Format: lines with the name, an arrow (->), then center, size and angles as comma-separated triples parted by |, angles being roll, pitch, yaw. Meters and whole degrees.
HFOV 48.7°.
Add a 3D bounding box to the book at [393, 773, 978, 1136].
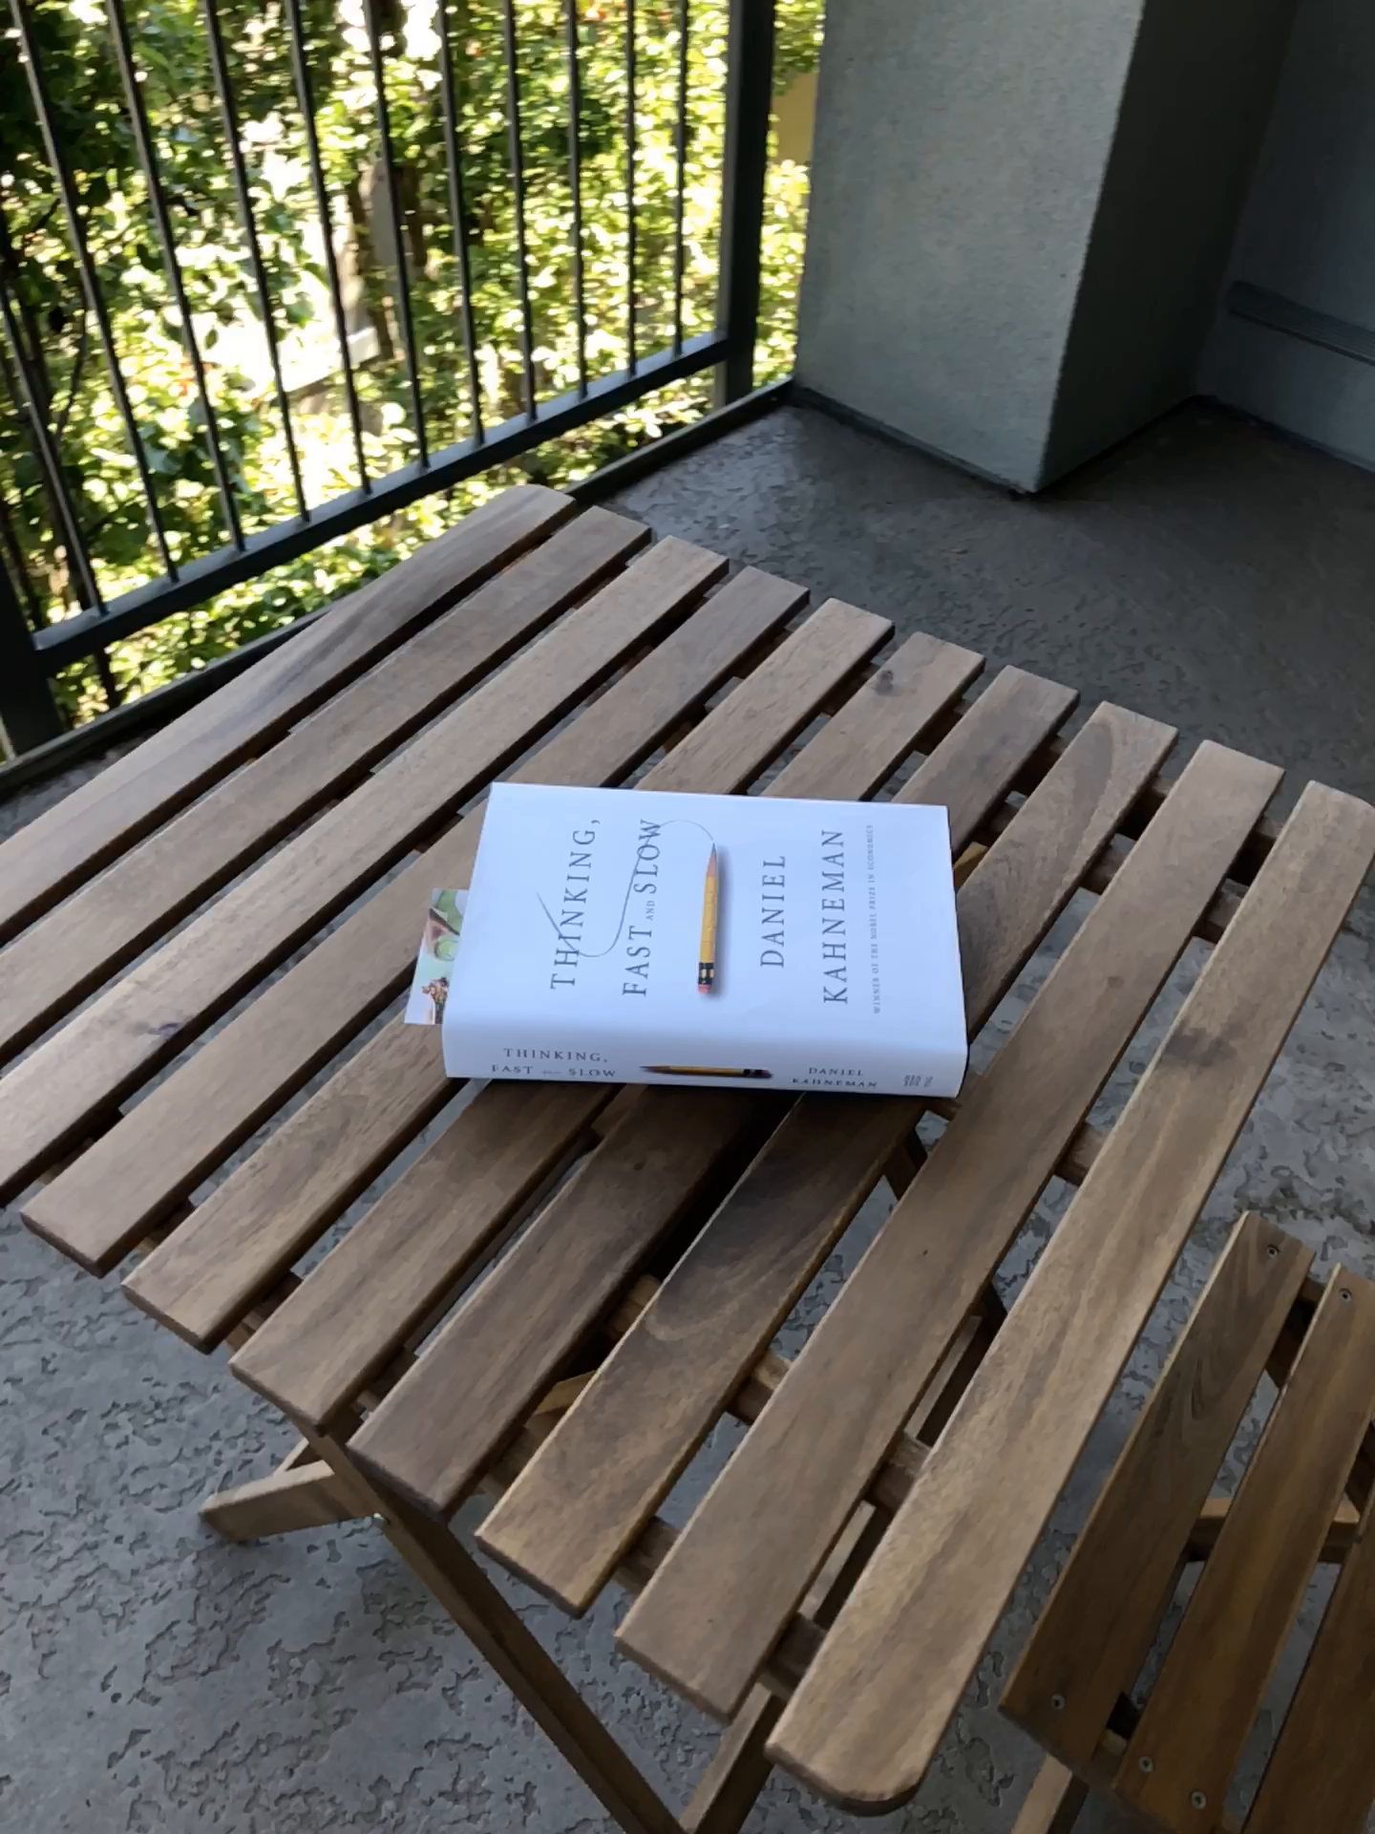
book -> 0.002, 0.013, 0.755 | 0.260, 0.050, 0.181 | 3, 47, 1
